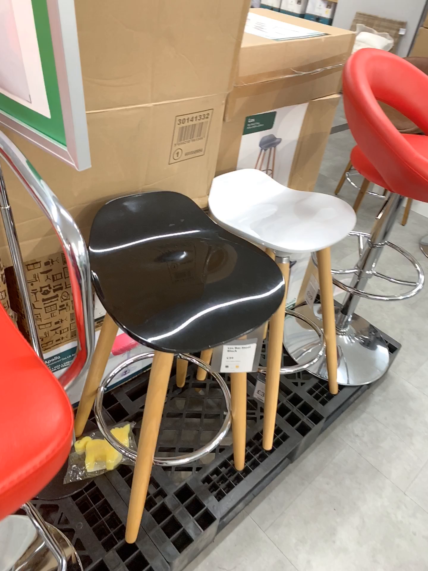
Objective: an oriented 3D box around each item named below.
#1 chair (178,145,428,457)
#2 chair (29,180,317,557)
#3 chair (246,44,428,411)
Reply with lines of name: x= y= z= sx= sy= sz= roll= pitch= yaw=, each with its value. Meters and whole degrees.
chair: x=0.197 y=0.047 z=1.280 sx=0.386 sy=0.721 sz=0.418 roll=-25 pitch=49 yaw=-35
chair: x=-0.125 y=0.199 z=1.034 sx=0.385 sy=0.721 sz=0.399 roll=-20 pitch=46 yaw=-31
chair: x=0.517 y=-0.171 z=1.412 sx=0.476 sy=0.978 sz=0.479 roll=-25 pitch=49 yaw=-35
